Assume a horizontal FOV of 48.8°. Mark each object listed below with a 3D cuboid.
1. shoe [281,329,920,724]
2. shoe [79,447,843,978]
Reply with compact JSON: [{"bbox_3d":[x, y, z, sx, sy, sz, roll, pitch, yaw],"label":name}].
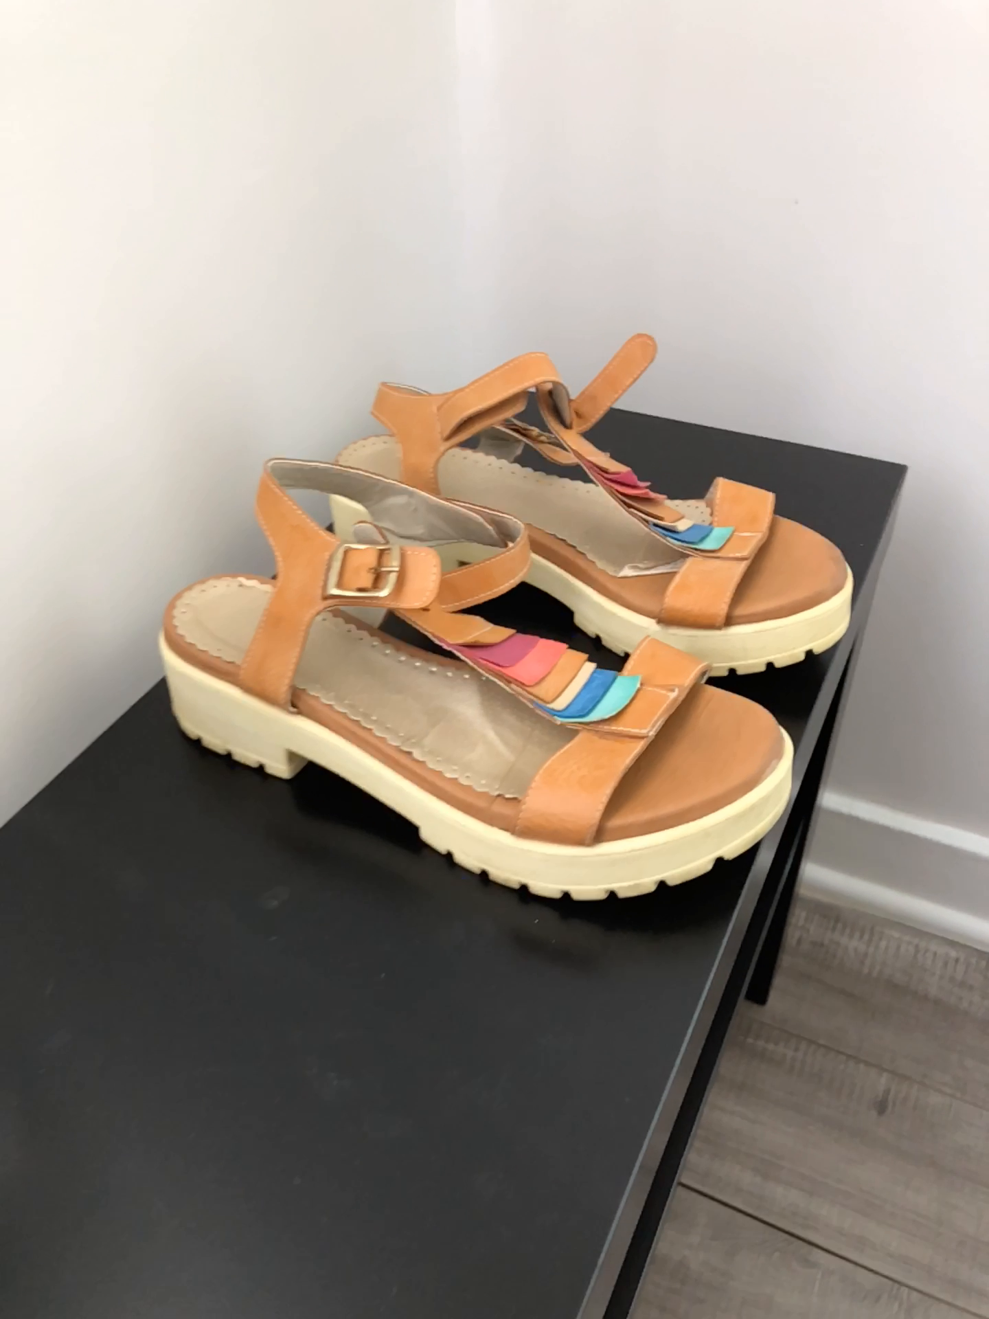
[{"bbox_3d":[0.042,-0.068,0.481,0.248,0.077,0.100,18,43,21],"label":"shoe"},{"bbox_3d":[-0.015,0.007,0.404,0.248,0.083,0.100,18,43,21],"label":"shoe"}]
